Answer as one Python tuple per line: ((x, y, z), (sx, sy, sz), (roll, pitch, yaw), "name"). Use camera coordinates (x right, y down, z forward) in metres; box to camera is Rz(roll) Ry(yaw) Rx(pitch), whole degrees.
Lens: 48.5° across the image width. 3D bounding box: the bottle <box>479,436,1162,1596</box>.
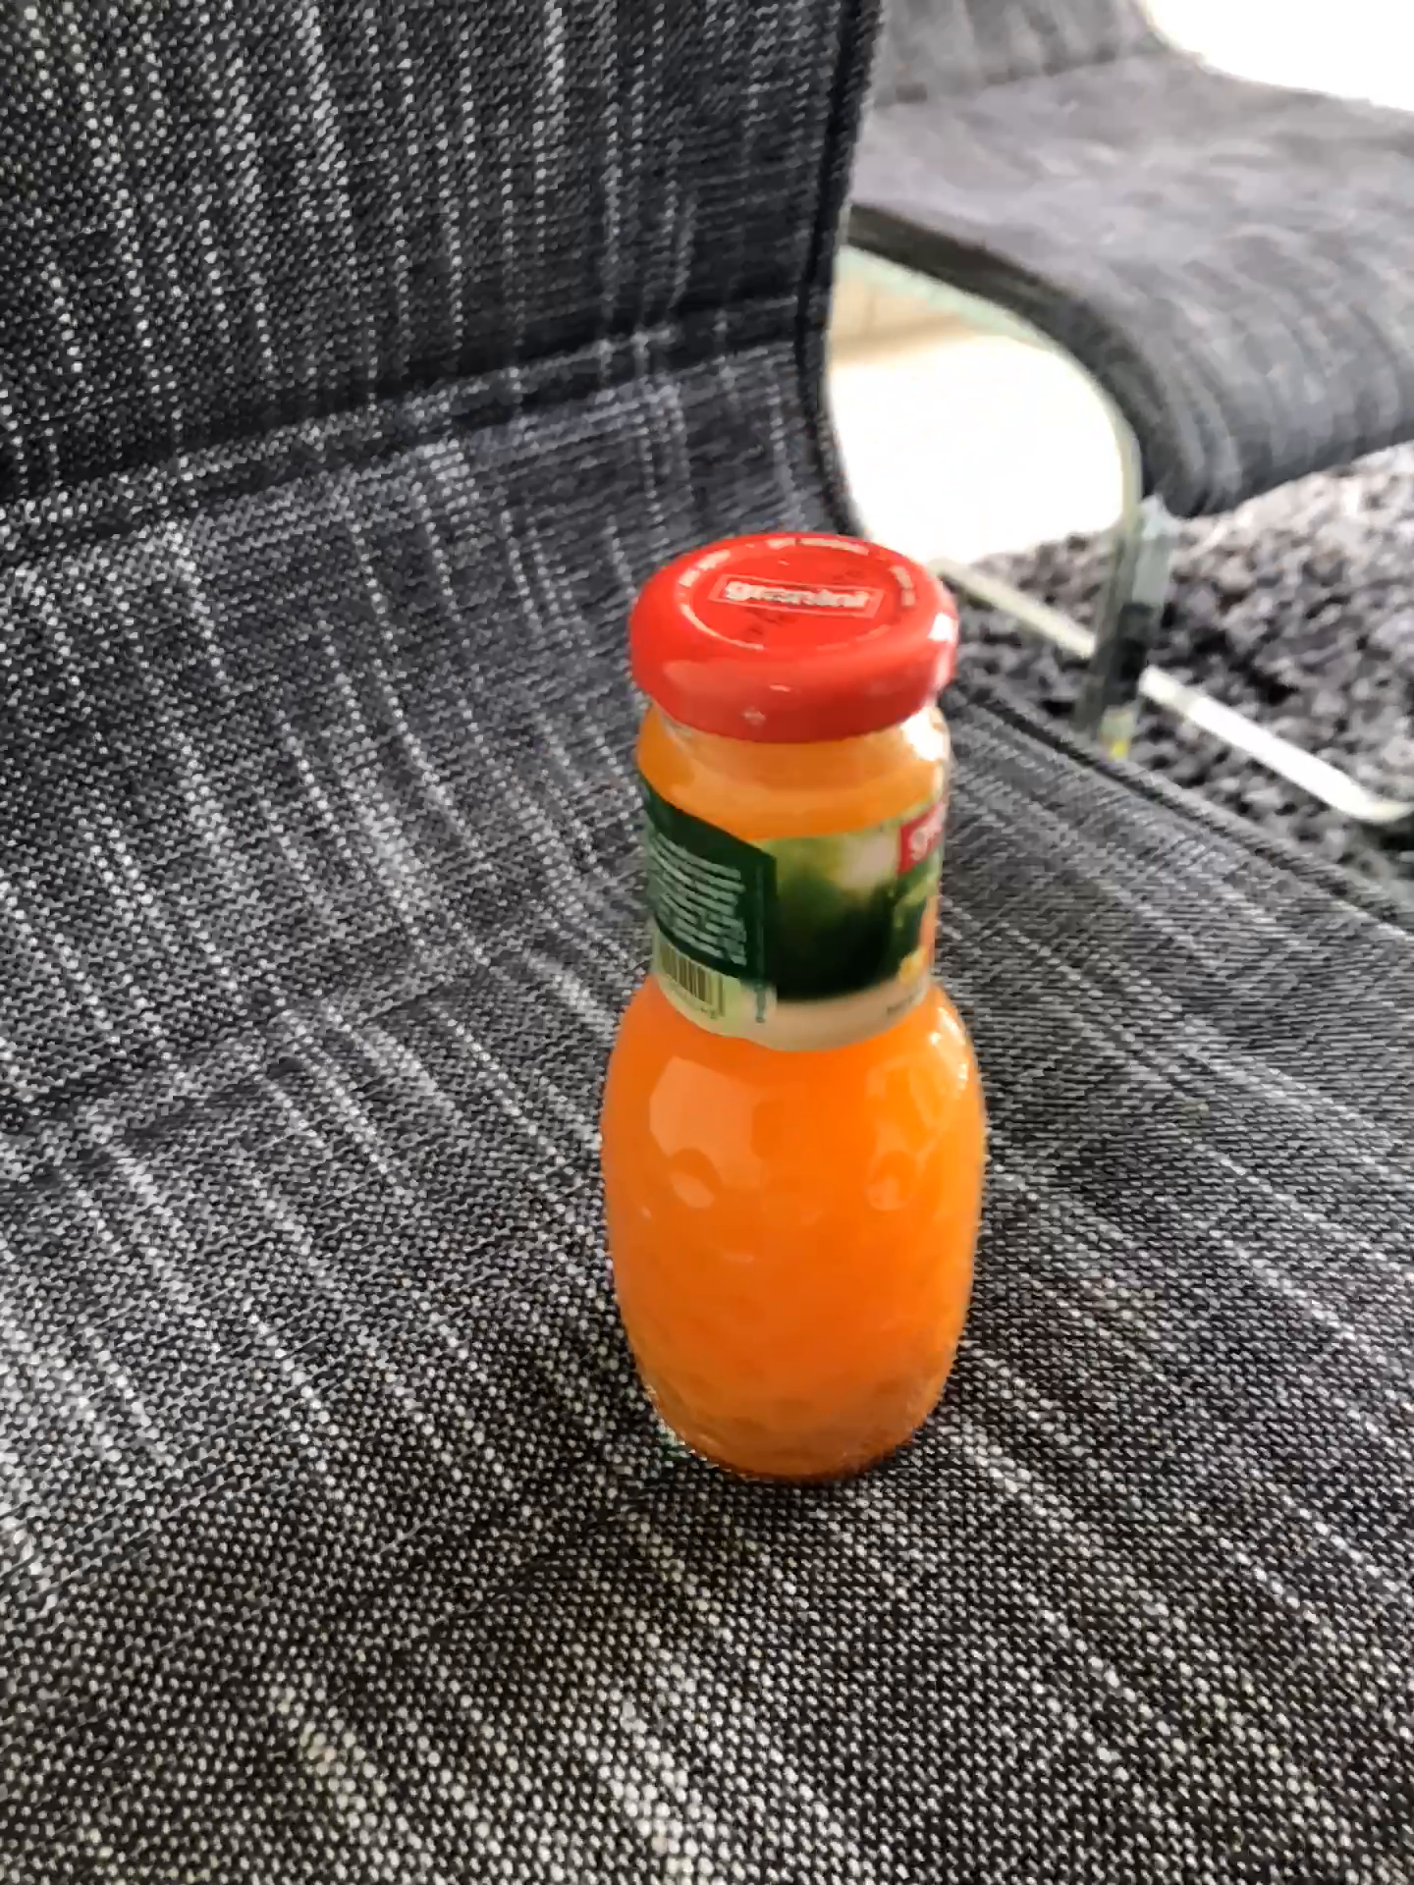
((0.015, 0.016, 0.230), (0.060, 0.149, 0.071), (16, 42, 16), "bottle")
